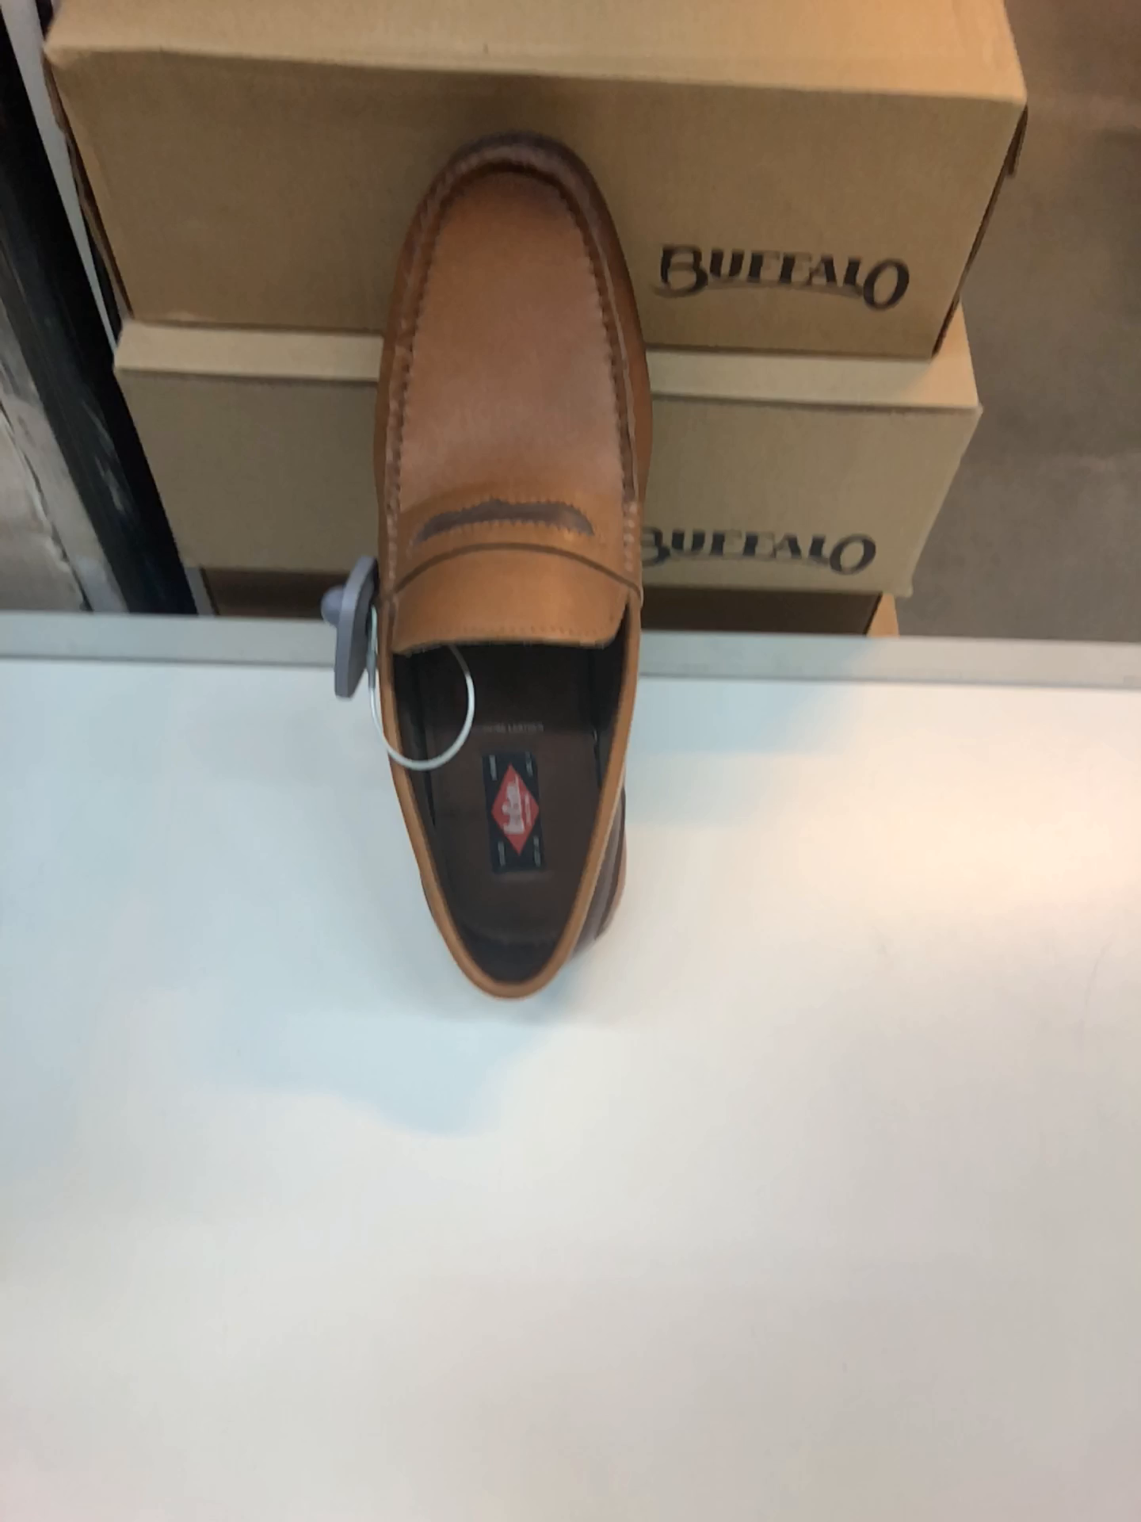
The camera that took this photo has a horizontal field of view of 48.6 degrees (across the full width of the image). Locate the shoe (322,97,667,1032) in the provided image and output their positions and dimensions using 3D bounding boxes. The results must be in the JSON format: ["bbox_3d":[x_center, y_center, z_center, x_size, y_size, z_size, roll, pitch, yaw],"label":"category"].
[{"bbox_3d":[-0.022,-0.063,0.453,0.103,0.103,0.293,1,101,2],"label":"shoe"}]
